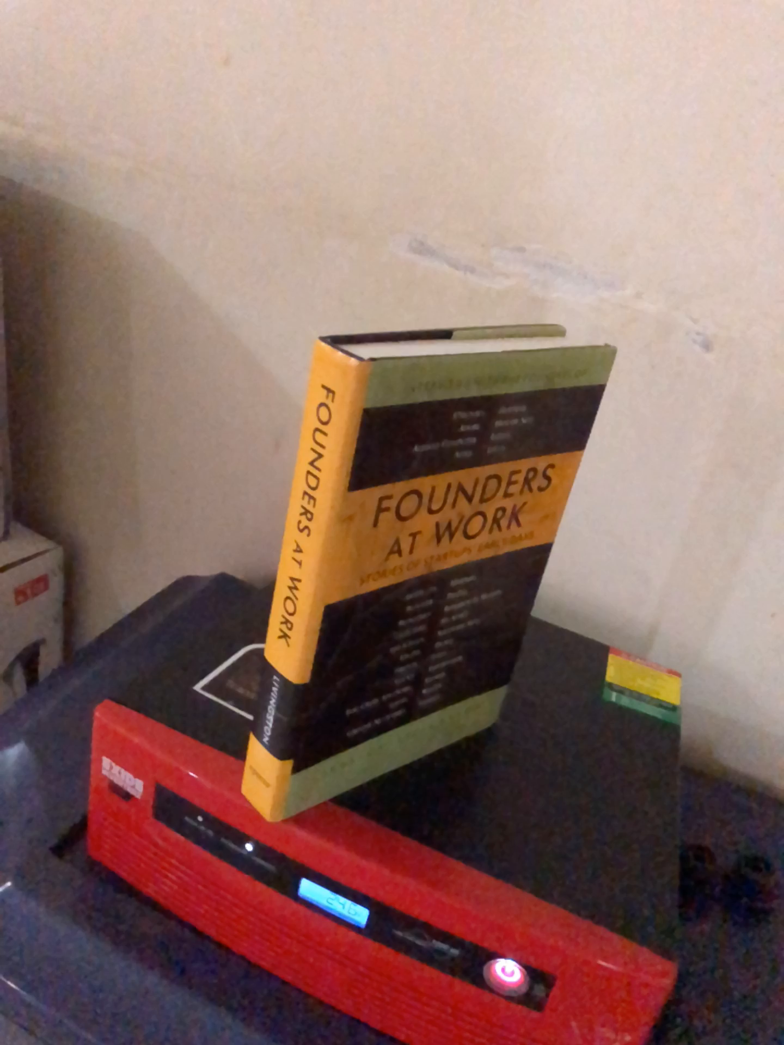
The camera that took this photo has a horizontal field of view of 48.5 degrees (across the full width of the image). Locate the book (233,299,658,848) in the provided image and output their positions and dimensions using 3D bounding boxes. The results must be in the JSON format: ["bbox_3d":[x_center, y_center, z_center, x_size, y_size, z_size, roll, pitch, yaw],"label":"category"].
[{"bbox_3d":[0.022,0.022,0.426,0.181,0.249,0.040,-13,36,-38],"label":"book"}]
